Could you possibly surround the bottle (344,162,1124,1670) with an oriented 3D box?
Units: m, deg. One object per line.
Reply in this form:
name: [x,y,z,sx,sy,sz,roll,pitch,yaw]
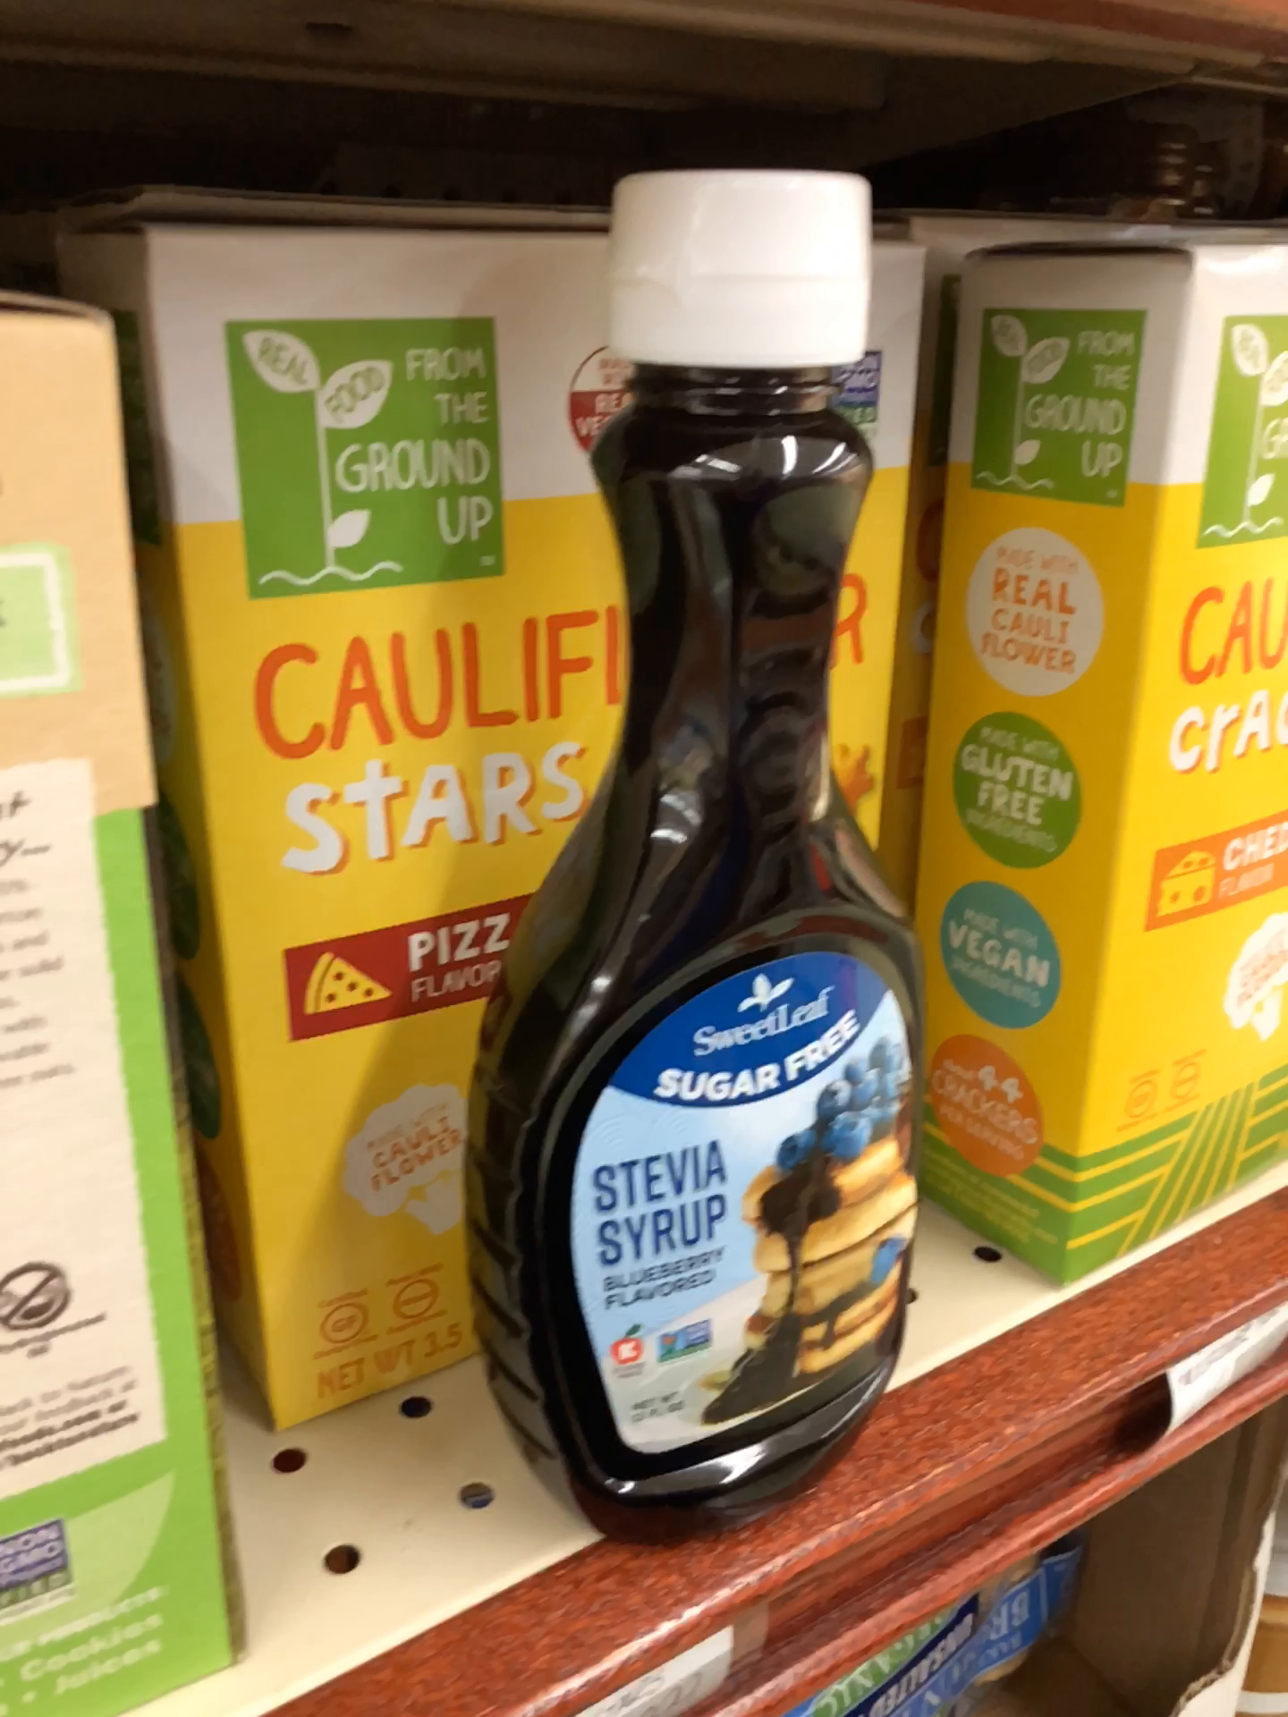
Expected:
bottle: [0.007,0.011,0.212,0.080,0.199,0.050,-11,26,-28]
